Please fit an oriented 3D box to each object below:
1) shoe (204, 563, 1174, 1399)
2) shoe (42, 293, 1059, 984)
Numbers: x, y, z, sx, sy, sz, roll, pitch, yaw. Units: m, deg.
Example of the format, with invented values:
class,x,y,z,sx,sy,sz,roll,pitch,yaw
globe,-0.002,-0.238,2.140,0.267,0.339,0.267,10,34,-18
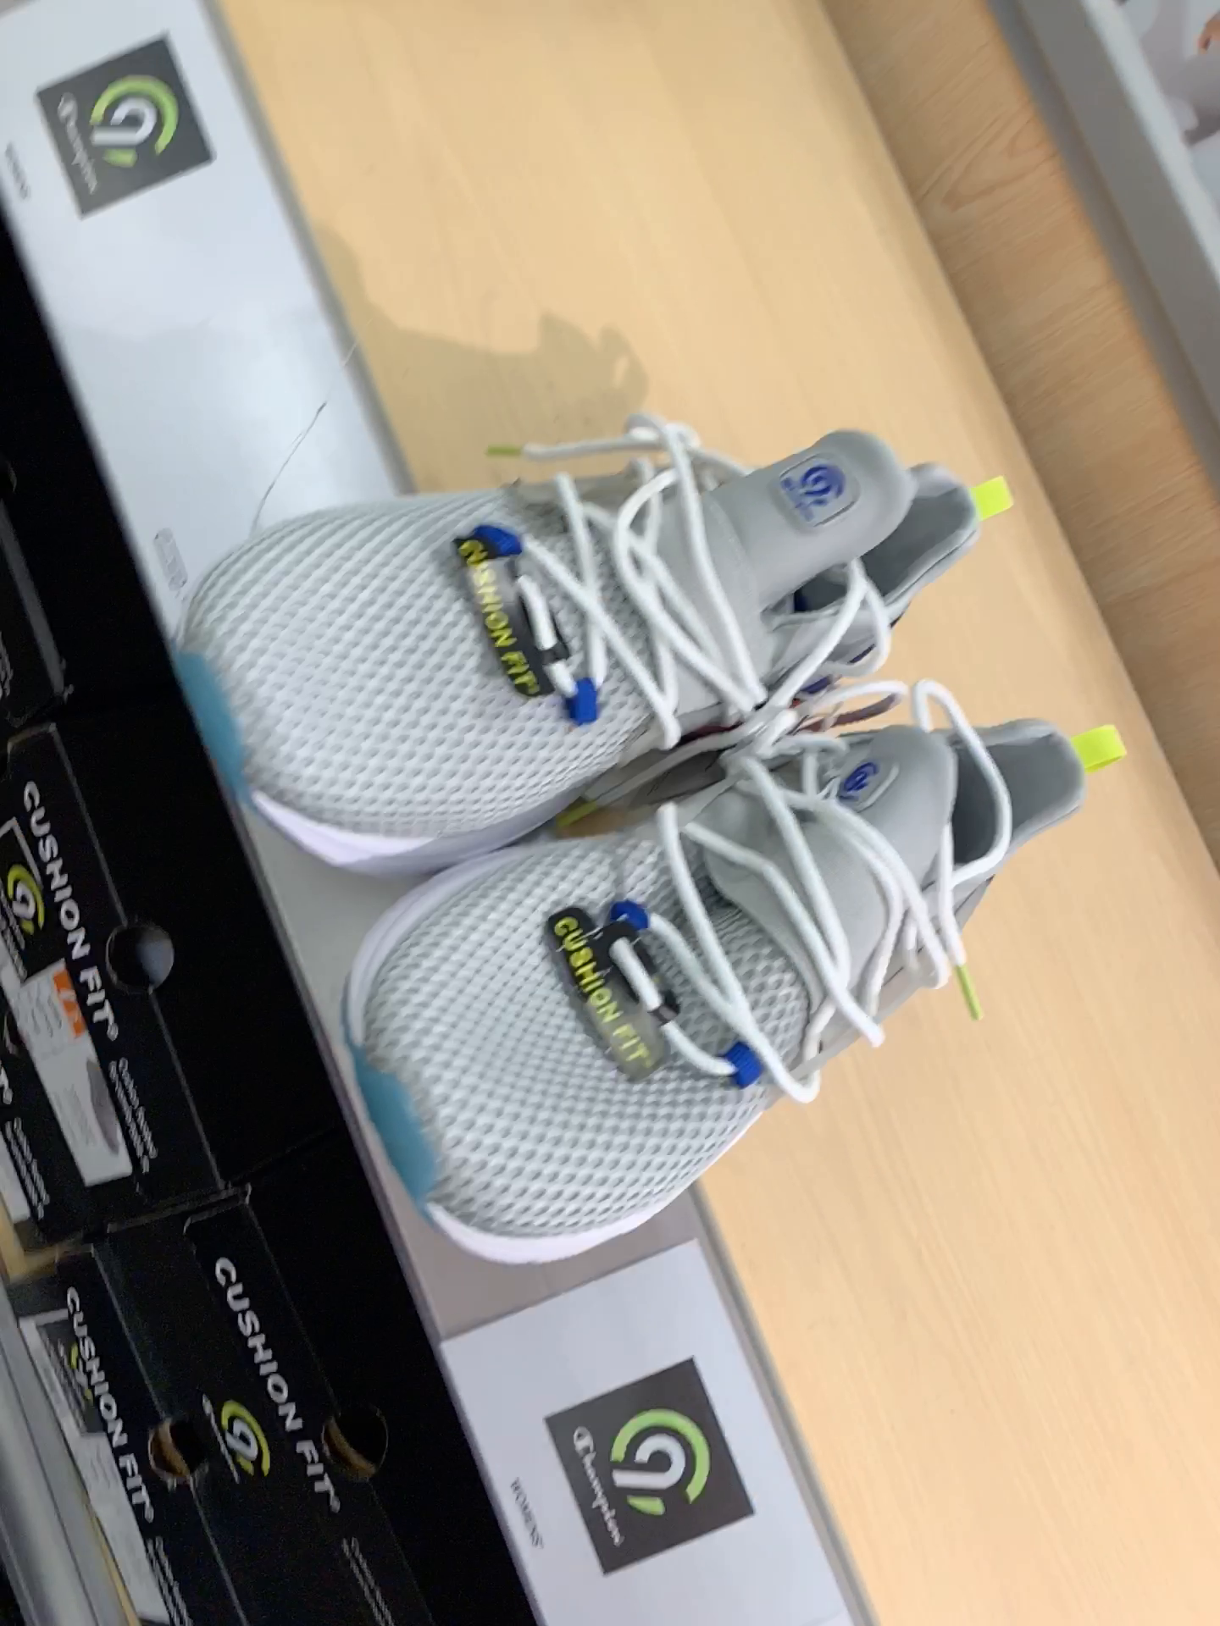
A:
class,x,y,z,sx,sy,sz,roll,pitch,yaw
shoe,0.048,0.022,0.343,0.271,0.090,0.110,-26,89,-47
shoe,0.009,-0.055,0.351,0.271,0.090,0.110,-17,82,-47
